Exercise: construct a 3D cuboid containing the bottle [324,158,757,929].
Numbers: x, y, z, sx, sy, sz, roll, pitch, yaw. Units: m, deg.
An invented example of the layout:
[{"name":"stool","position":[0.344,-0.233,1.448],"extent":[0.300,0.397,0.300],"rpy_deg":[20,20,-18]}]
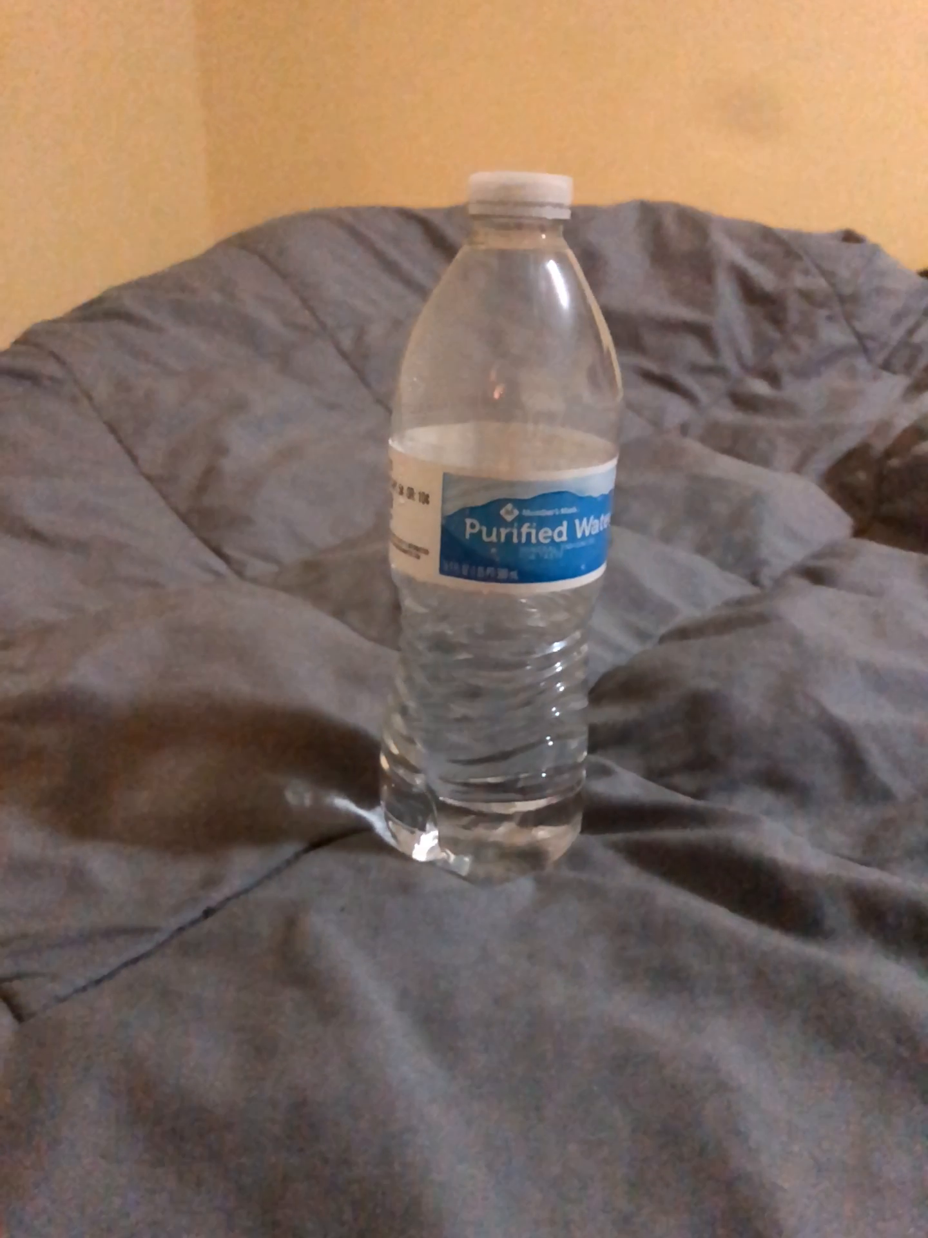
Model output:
[{"name":"bottle","position":[0.015,-0.024,0.294],"extent":[0.080,0.190,0.080],"rpy_deg":[0,21,0]}]
